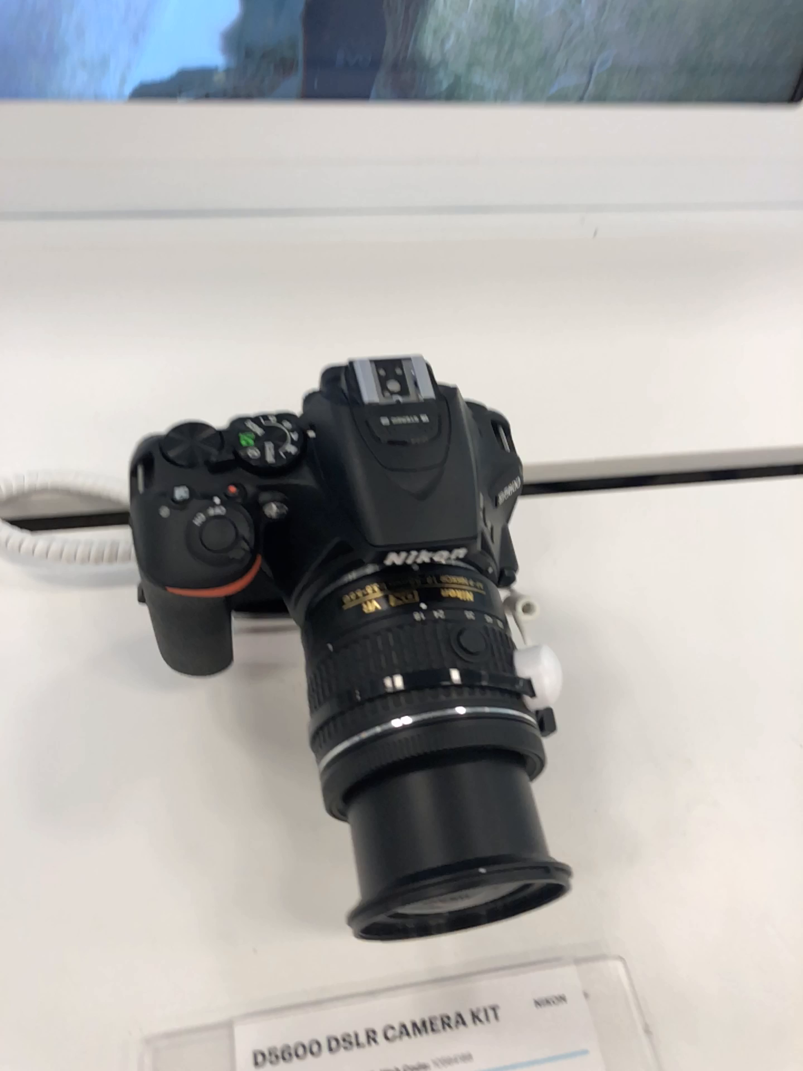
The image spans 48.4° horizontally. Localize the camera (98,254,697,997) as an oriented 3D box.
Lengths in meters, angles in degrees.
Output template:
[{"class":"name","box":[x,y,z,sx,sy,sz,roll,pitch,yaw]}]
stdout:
[{"class":"camera","box":[-0.019,0.015,0.271,0.120,0.090,0.190,-7,55,-13]}]
